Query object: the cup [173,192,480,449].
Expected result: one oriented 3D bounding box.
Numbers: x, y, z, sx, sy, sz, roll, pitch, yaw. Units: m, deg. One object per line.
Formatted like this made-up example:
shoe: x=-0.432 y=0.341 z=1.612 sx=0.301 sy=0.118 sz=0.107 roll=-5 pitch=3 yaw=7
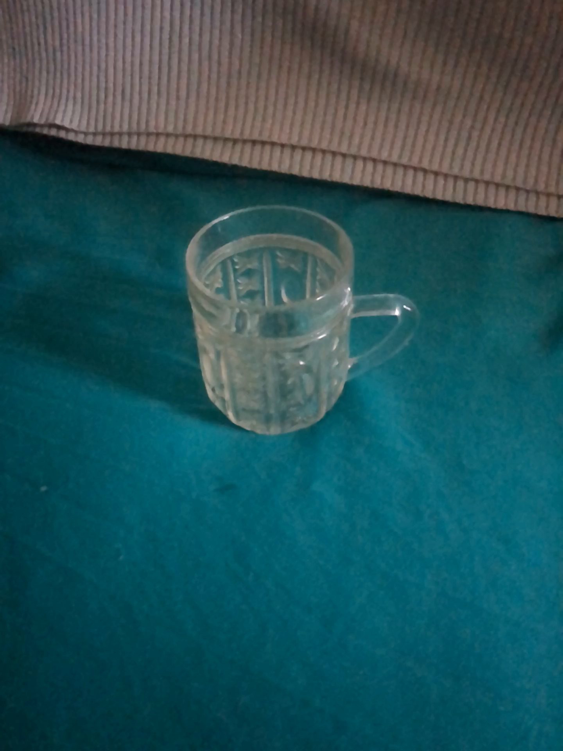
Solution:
cup: x=0.013 y=-0.021 z=0.259 sx=0.104 sy=0.076 sz=0.064 roll=-5 pitch=53 yaw=-3
